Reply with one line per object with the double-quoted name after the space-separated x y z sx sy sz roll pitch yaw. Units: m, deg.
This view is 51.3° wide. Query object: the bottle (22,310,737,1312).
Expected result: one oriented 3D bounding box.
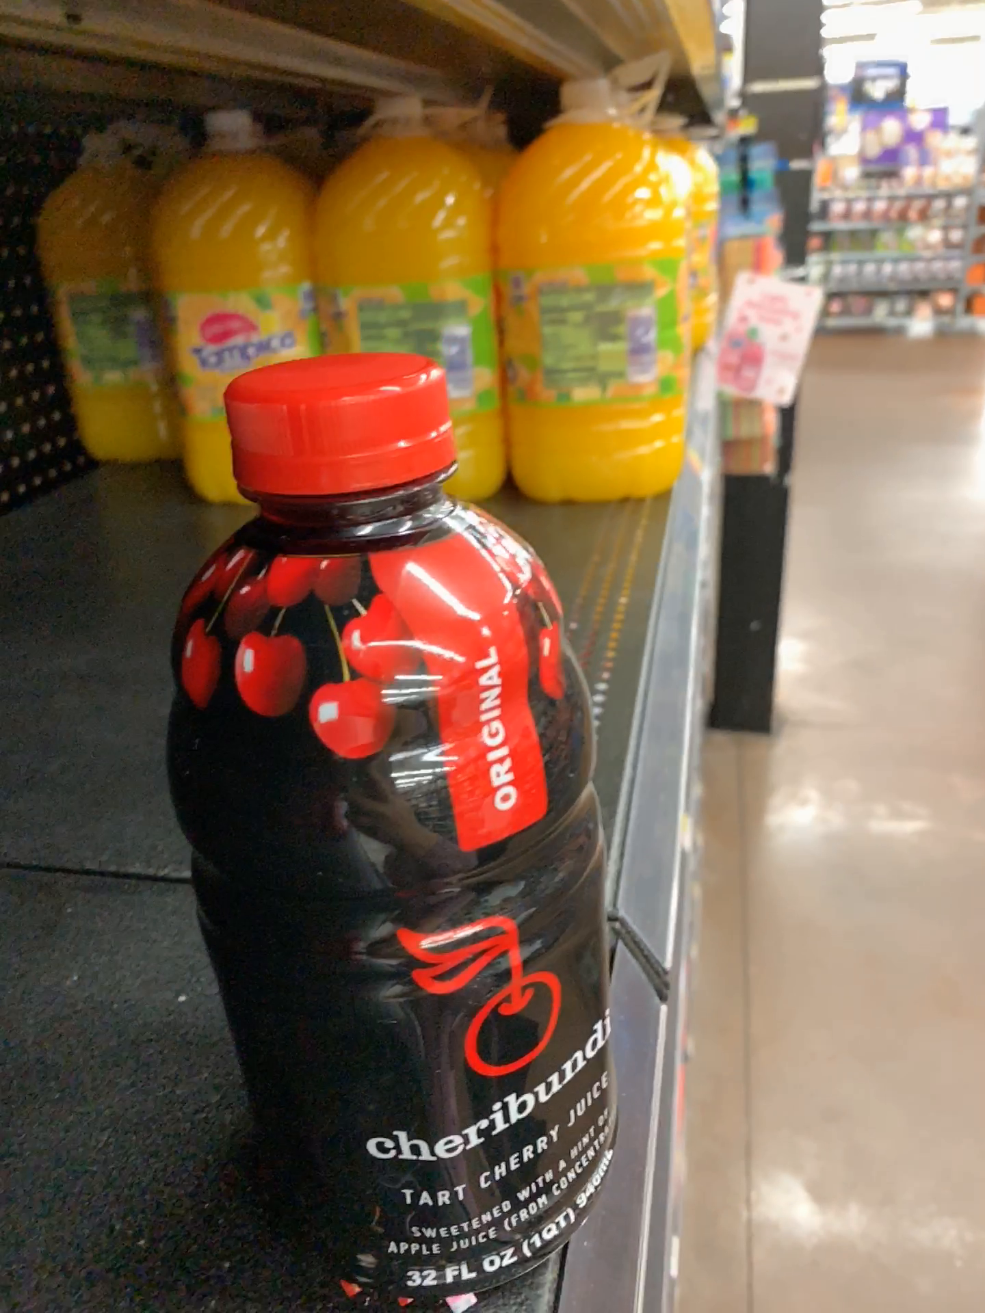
-0.019 0.040 0.226 0.095 0.204 0.090 -3 25 1 "bottle"
